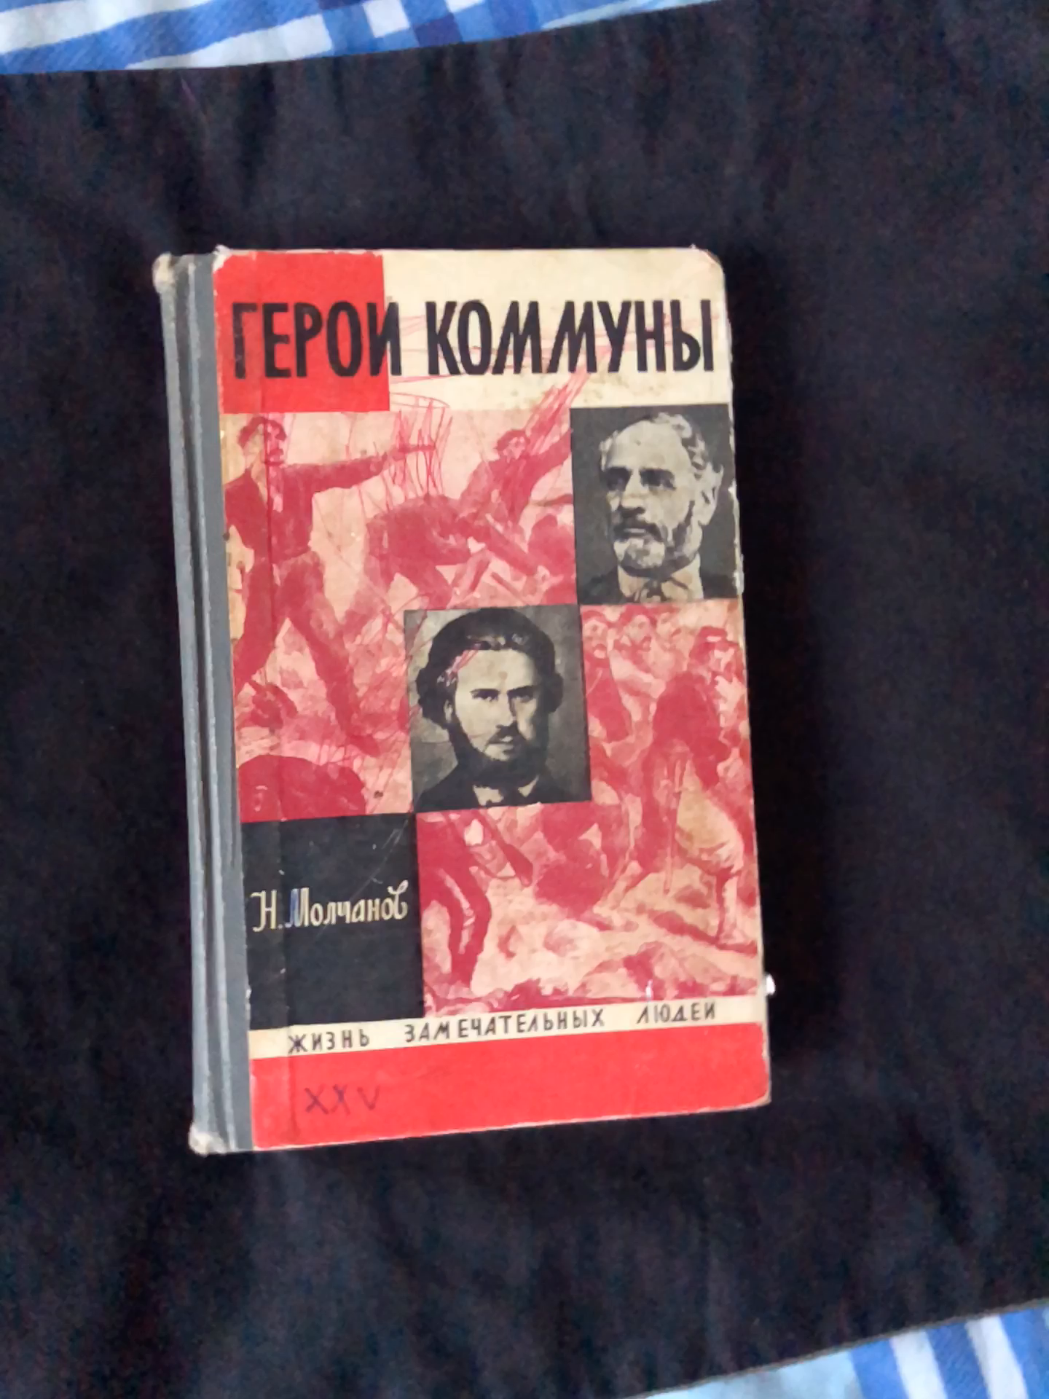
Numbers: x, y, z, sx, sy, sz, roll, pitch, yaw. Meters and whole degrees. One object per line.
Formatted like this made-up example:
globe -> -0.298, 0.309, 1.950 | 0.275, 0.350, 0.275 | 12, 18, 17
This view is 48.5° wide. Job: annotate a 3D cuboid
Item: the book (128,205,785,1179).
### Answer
book -> -0.016, -0.004, 0.279 | 0.128, 0.060, 0.200 | -4, 89, -5
